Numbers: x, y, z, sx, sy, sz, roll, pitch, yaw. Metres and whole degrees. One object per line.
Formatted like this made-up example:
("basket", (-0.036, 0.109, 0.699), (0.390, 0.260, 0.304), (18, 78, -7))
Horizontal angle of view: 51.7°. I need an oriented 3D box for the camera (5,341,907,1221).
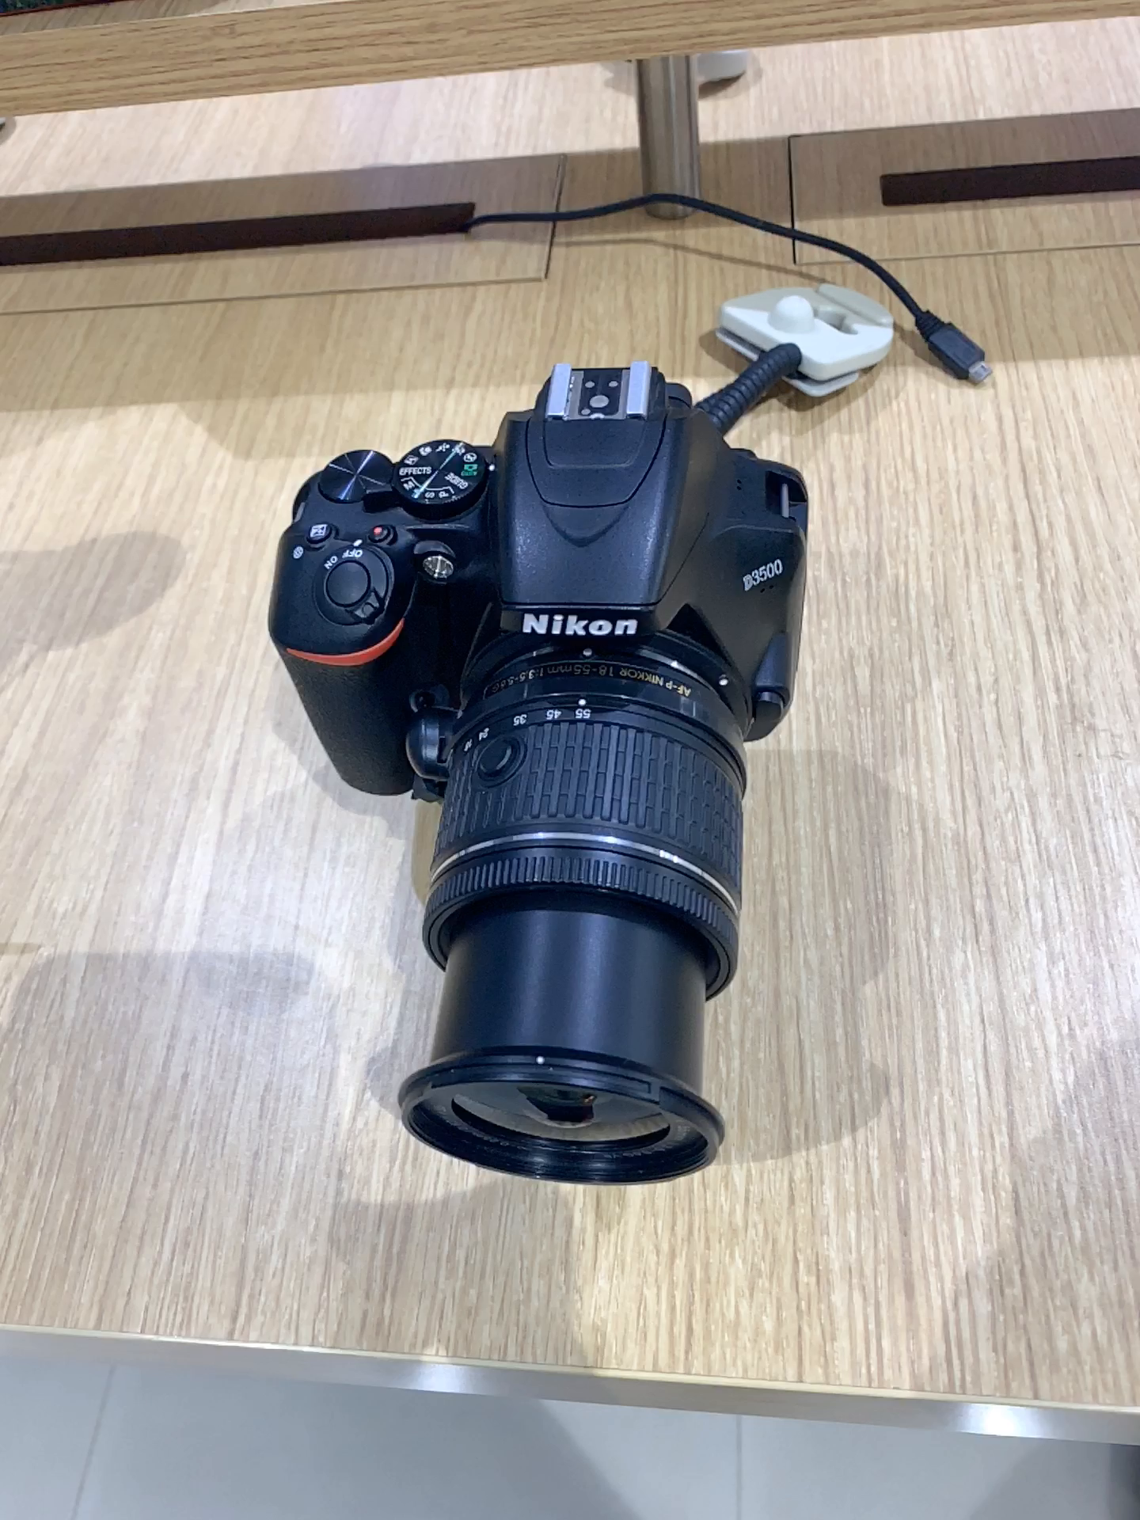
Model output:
("camera", (-0.007, 0.005, 0.224), (0.117, 0.095, 0.131), (0, 55, 8))
